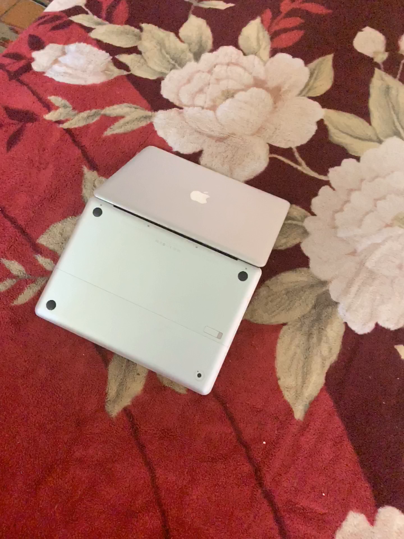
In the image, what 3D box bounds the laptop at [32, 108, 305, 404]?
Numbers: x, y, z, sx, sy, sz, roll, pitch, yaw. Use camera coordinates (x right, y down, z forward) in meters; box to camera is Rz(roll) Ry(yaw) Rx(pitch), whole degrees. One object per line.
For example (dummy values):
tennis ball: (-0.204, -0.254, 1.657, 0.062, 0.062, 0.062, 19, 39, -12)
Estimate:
laptop: (-0.056, -0.025, 0.719, 0.316, 0.078, 0.390, 24, 83, 7)
